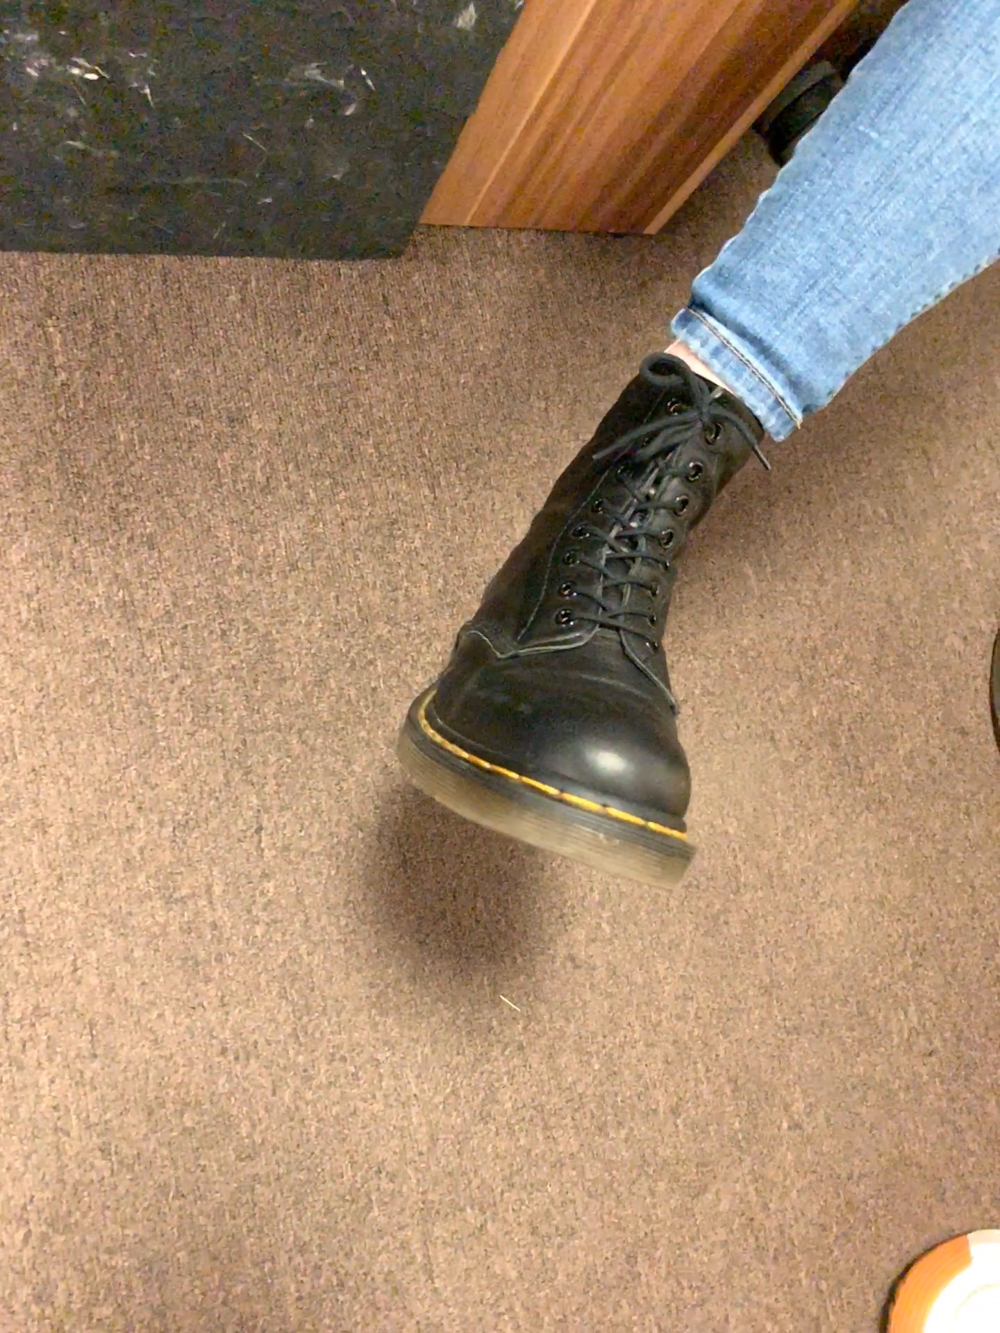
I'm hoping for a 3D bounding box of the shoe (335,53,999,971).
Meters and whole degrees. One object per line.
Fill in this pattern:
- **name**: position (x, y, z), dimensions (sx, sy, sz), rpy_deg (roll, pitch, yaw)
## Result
- **shoe**: position (0.038, -0.074, 0.466), dimensions (0.120, 0.370, 0.230), rpy_deg (26, 97, -16)
